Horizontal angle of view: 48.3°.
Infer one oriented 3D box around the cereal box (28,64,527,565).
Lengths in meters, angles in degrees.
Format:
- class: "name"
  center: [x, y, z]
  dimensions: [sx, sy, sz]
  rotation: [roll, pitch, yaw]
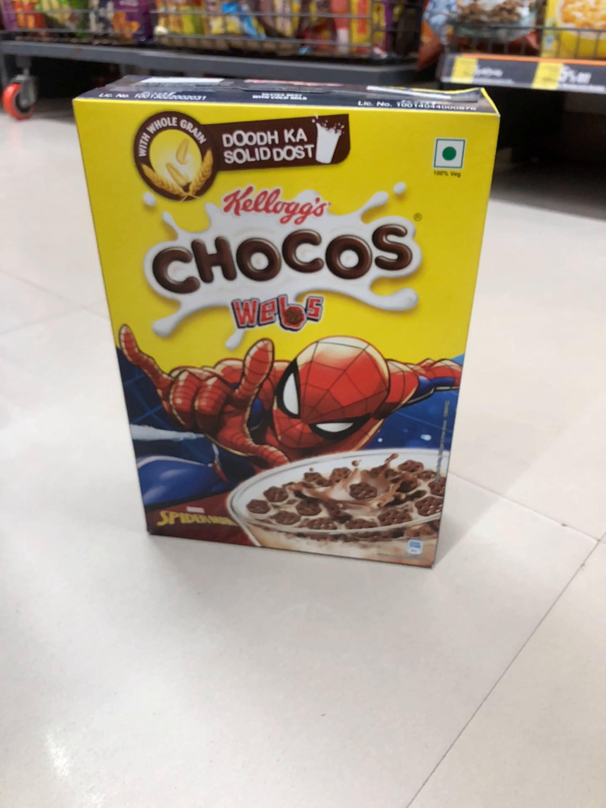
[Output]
- class: "cereal box"
  center: [-0.007, -0.041, 0.347]
  dimensions: [0.190, 0.229, 0.080]
  rotation: [5, 33, 8]
